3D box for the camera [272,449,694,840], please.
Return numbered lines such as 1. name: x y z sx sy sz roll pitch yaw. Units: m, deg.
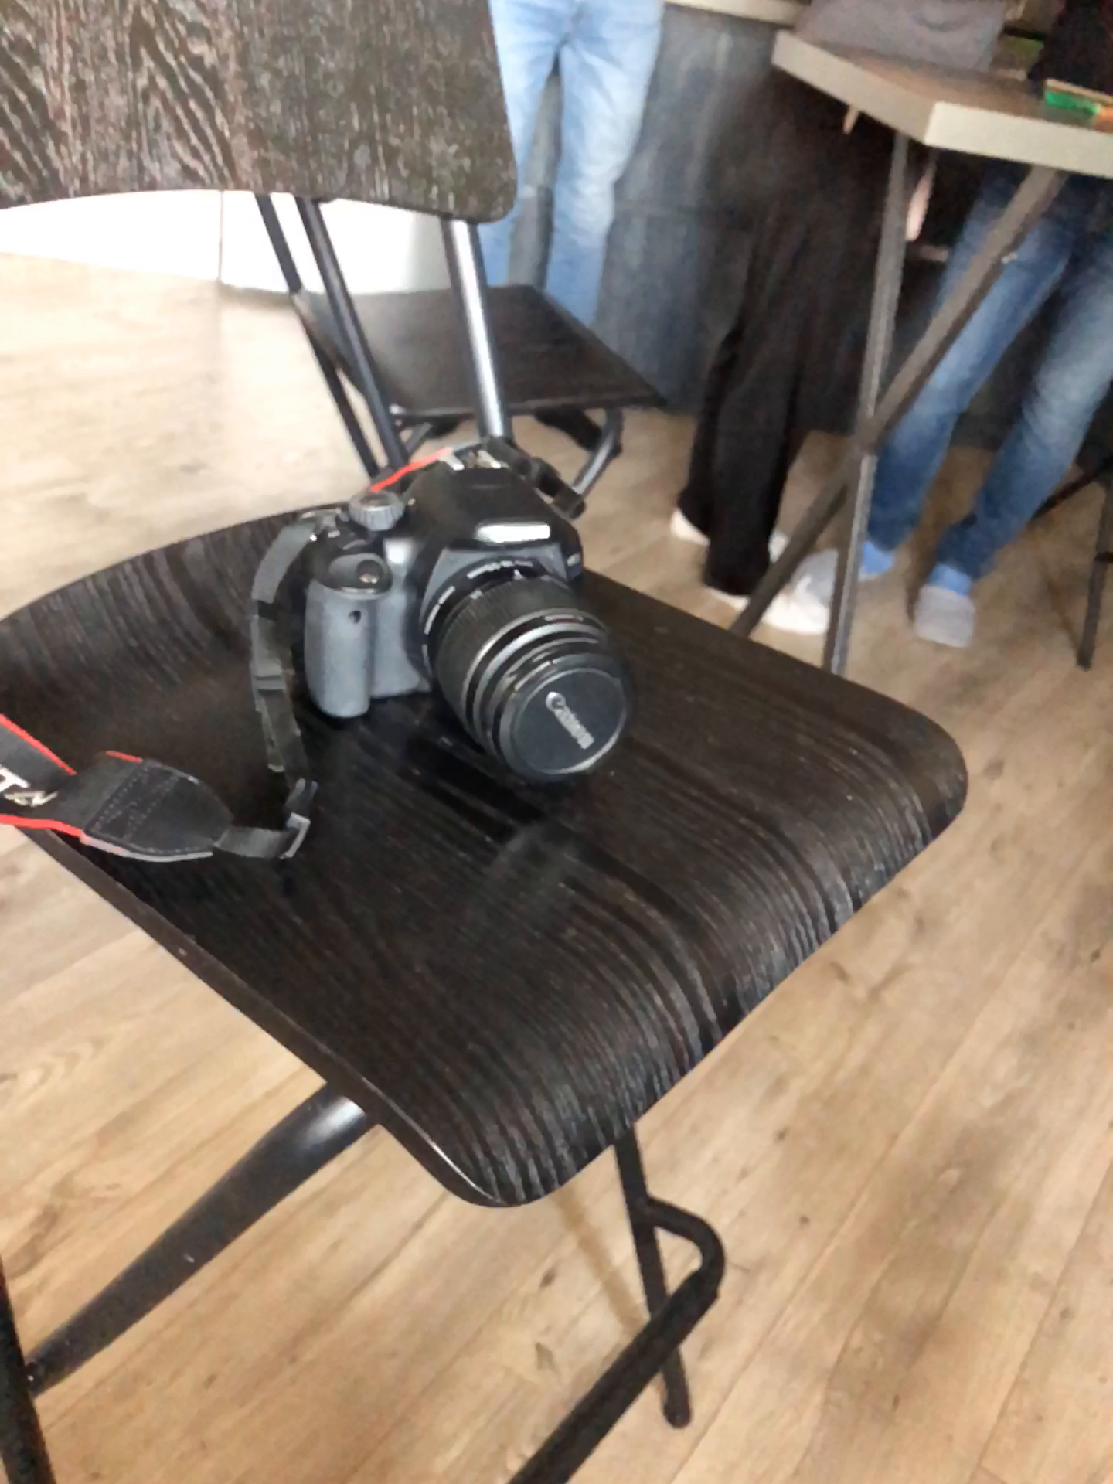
1. camera: -0.039 -0.049 0.514 0.120 0.092 0.141 -8 38 -26
